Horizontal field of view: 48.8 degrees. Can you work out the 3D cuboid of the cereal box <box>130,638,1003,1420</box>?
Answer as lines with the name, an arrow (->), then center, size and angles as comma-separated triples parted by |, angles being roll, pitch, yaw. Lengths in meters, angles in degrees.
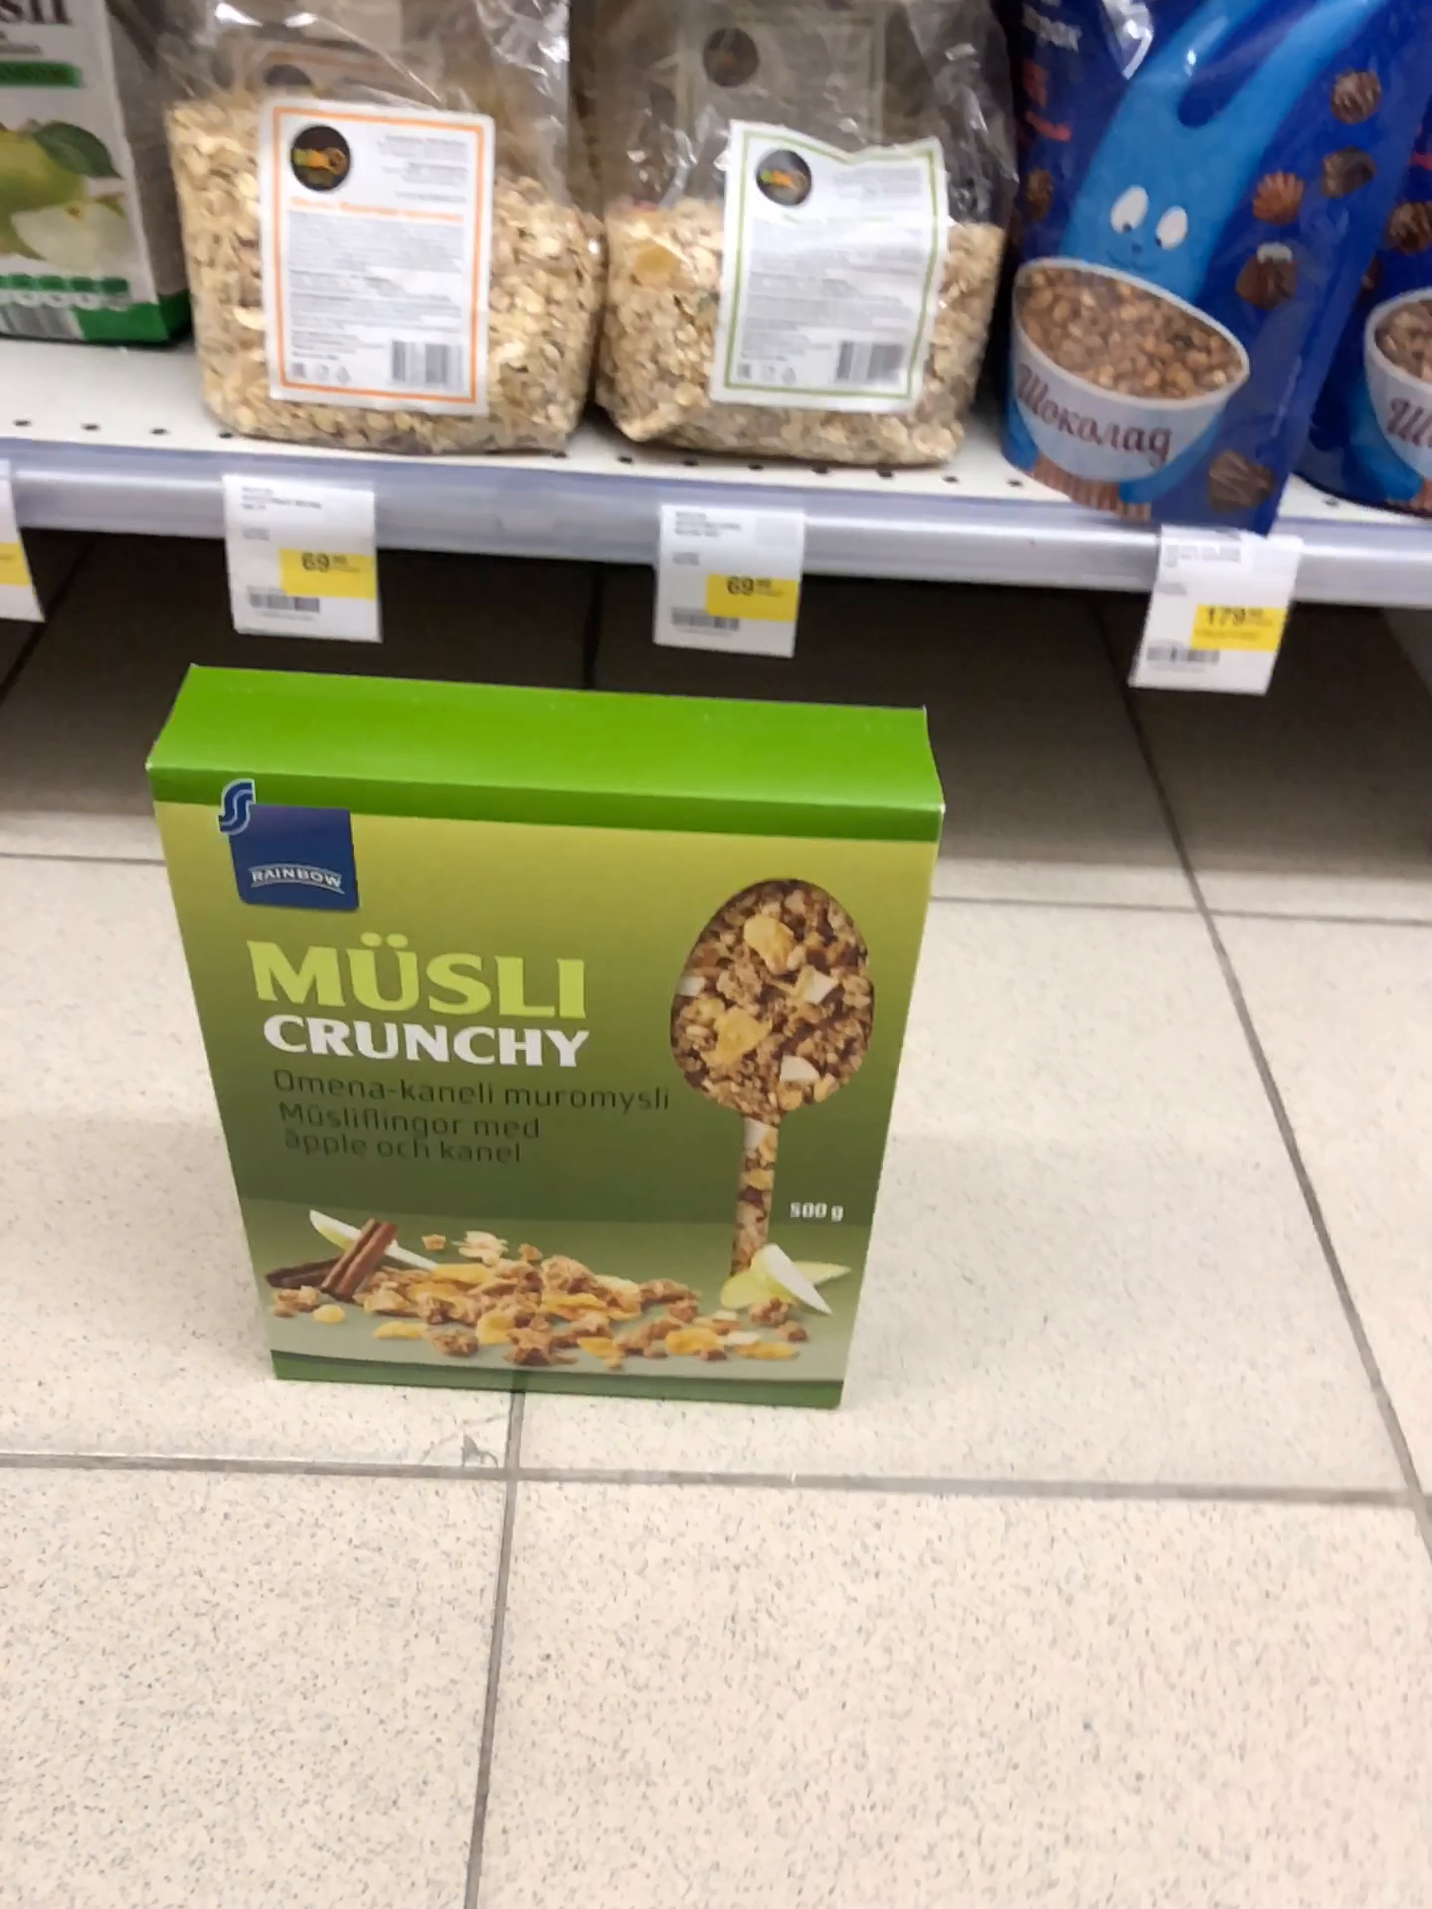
cereal box -> -0.041, 0.038, 0.461 | 0.200, 0.249, 0.050 | 3, 40, -2
